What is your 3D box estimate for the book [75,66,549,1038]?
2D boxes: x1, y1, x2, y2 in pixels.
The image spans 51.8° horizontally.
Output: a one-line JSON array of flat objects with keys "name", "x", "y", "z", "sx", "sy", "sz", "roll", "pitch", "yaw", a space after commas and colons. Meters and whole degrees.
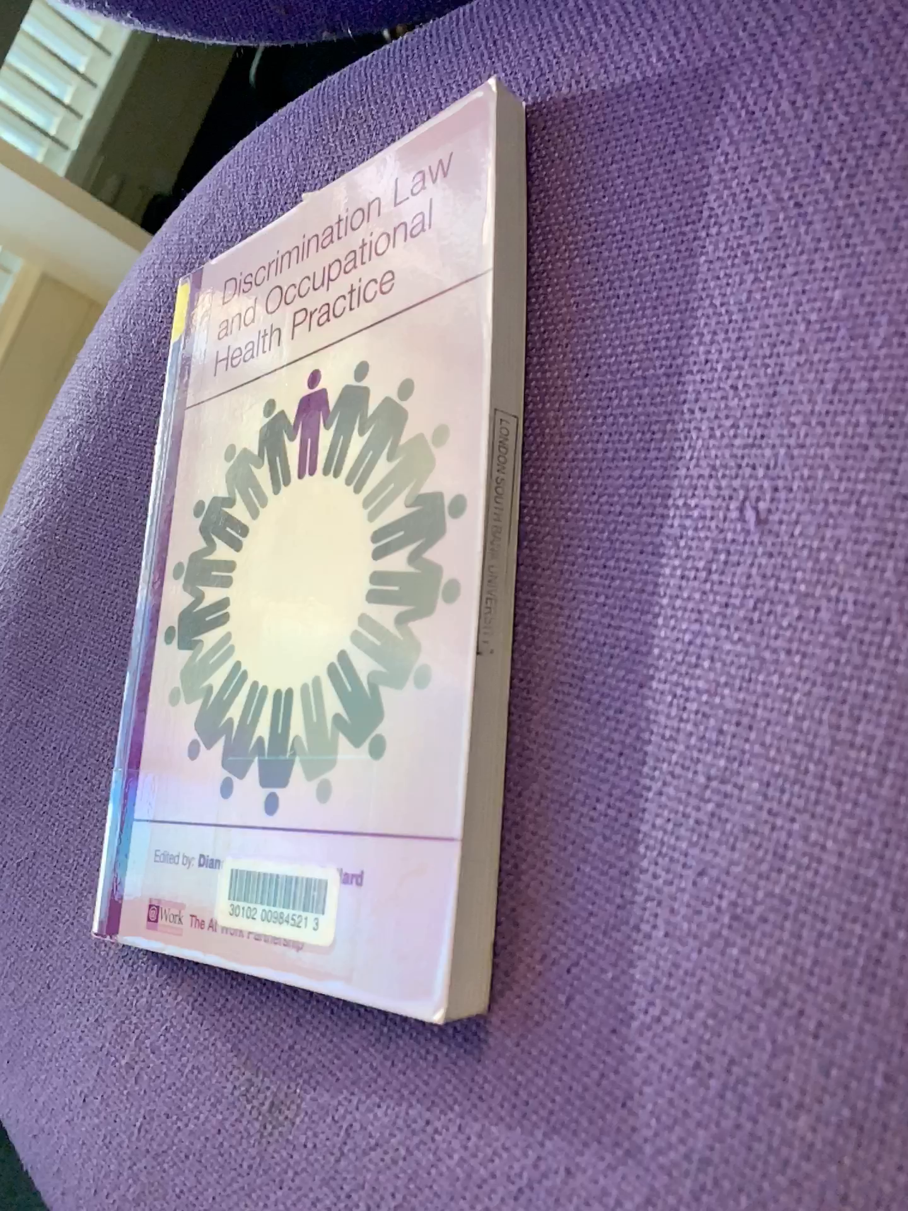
[{"name": "book", "x": -0.046, "y": -0.016, "z": 0.276, "sx": 0.158, "sy": 0.022, "sz": 0.236, "roll": -10, "pitch": 70, "yaw": 42}]
